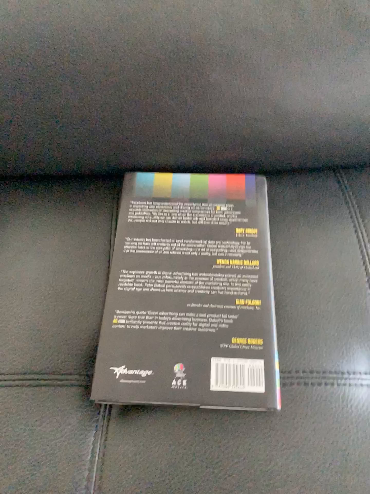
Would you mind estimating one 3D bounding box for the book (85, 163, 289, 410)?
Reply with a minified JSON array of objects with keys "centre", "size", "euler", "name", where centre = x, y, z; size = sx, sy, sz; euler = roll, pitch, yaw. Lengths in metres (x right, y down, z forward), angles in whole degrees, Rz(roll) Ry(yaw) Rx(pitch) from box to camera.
[{"centre":[0.007,0.023,0.367],"size":[0.160,0.030,0.237],"euler":[2,62,3],"name":"book"}]
